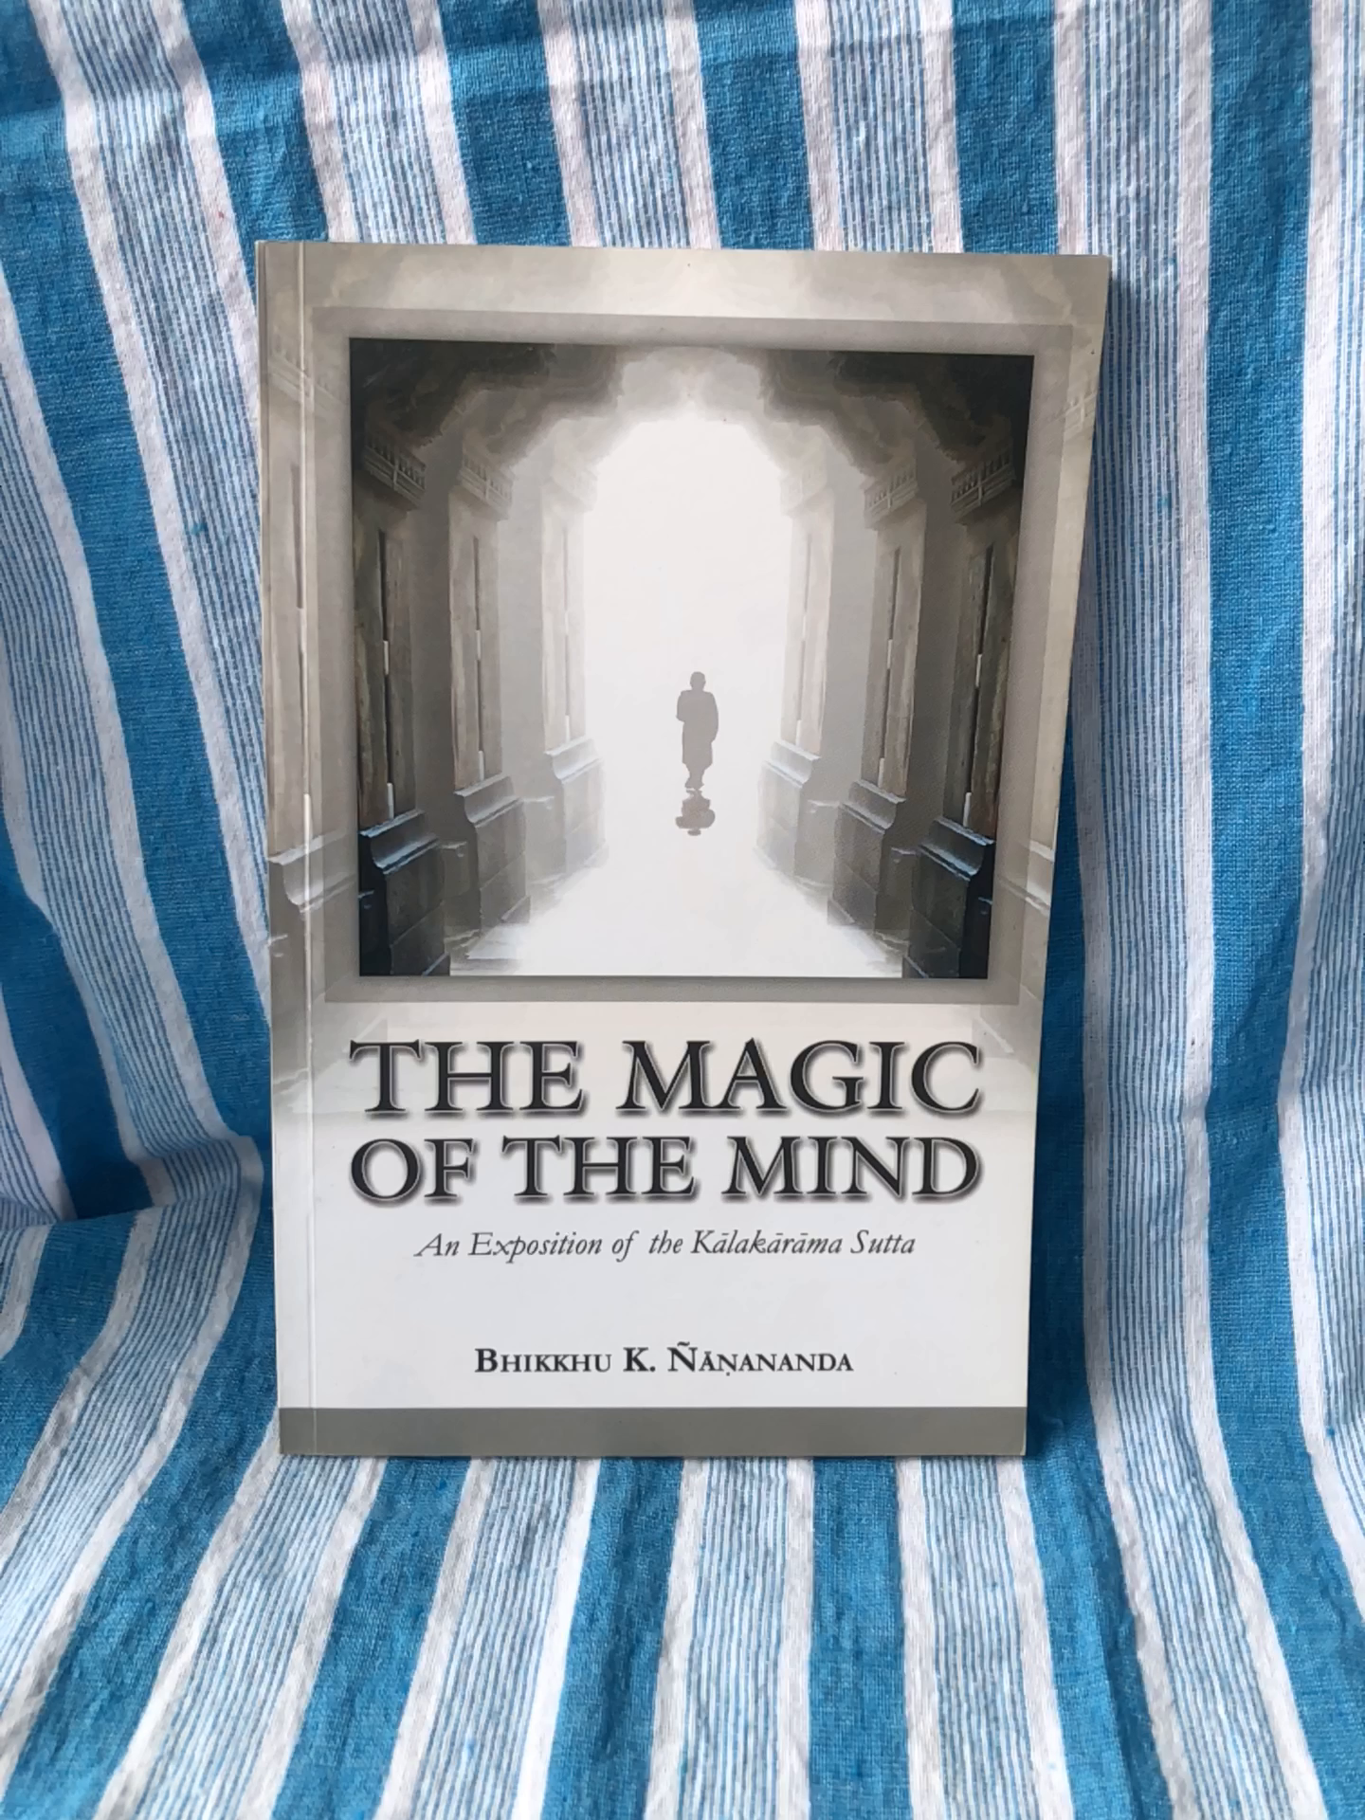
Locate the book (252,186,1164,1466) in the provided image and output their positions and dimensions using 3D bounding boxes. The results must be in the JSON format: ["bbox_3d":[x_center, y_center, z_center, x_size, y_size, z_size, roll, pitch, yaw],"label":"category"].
[{"bbox_3d":[0.002,-0.008,0.269,0.150,0.220,0.010,1,8,-3],"label":"book"}]
